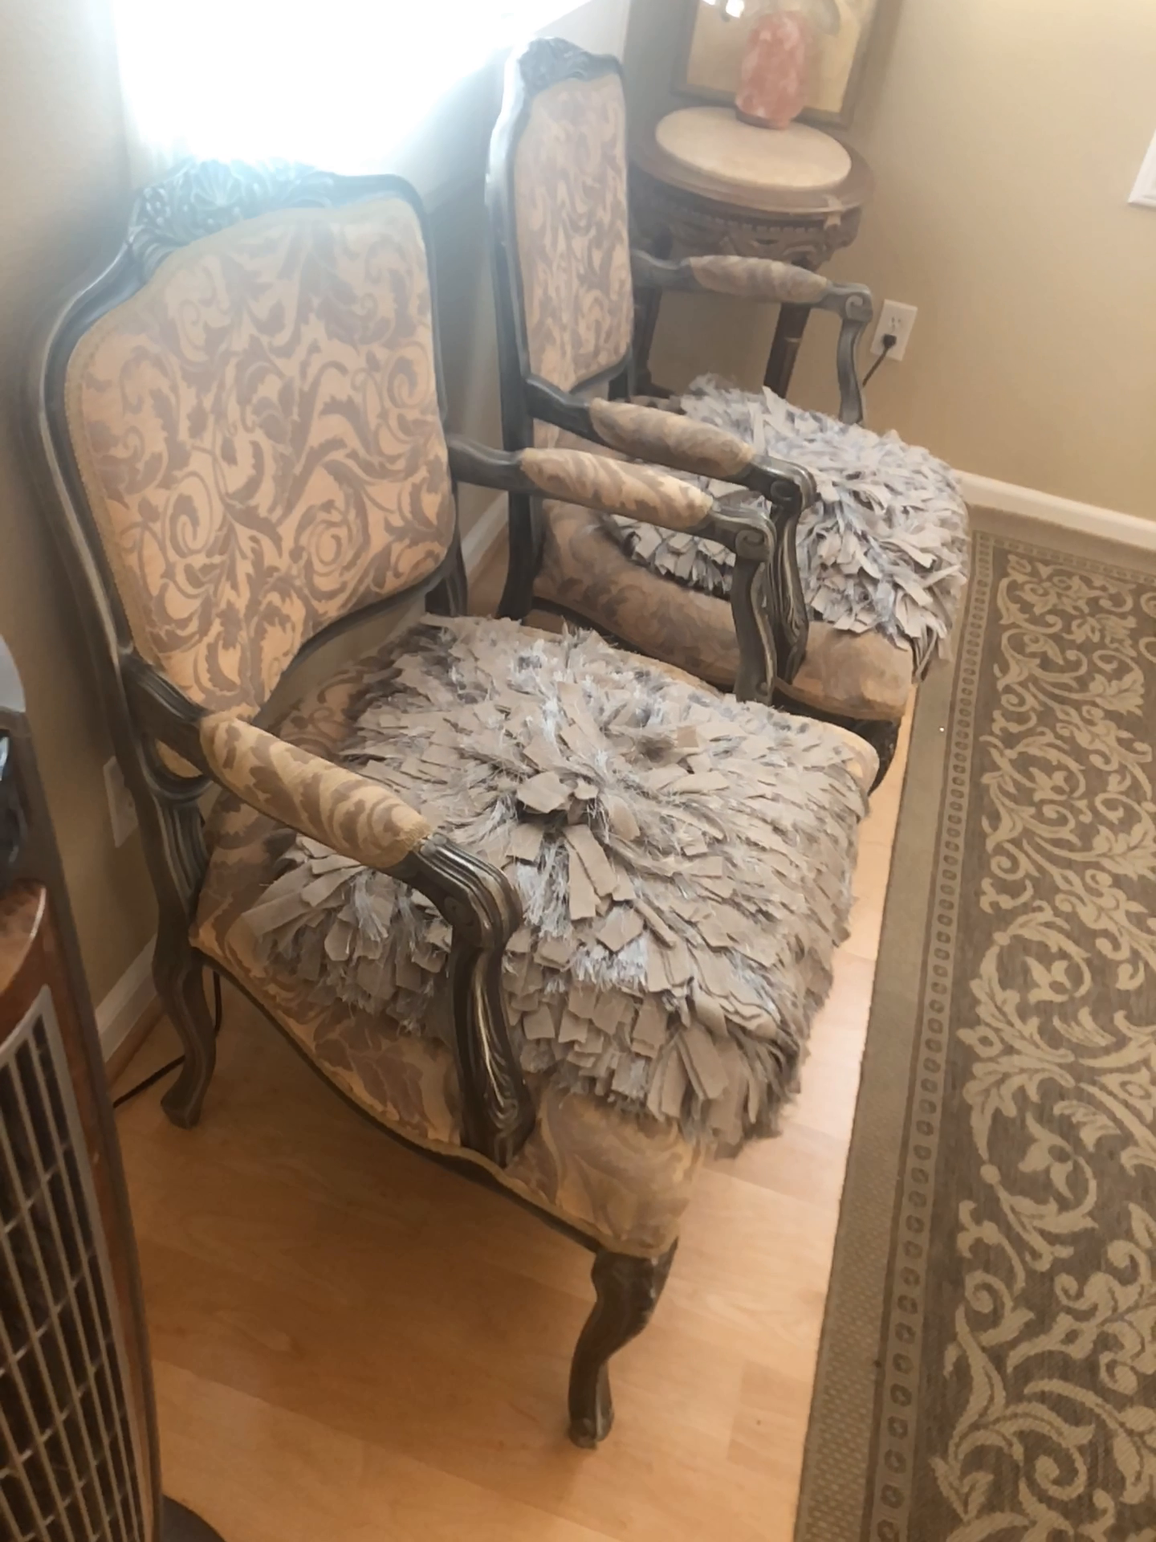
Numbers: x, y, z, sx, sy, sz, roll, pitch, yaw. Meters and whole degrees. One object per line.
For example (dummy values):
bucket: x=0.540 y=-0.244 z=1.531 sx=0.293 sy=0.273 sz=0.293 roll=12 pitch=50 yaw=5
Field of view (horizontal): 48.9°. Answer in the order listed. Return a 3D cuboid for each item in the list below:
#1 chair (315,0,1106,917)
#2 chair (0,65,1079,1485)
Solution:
chair: x=0.157 y=-0.458 z=1.764 sx=0.780 sy=0.852 sz=0.747 roll=16 pitch=41 yaw=7
chair: x=-0.056 y=-0.005 z=1.180 sx=0.600 sy=0.951 sz=0.696 roll=21 pitch=42 yaw=13
